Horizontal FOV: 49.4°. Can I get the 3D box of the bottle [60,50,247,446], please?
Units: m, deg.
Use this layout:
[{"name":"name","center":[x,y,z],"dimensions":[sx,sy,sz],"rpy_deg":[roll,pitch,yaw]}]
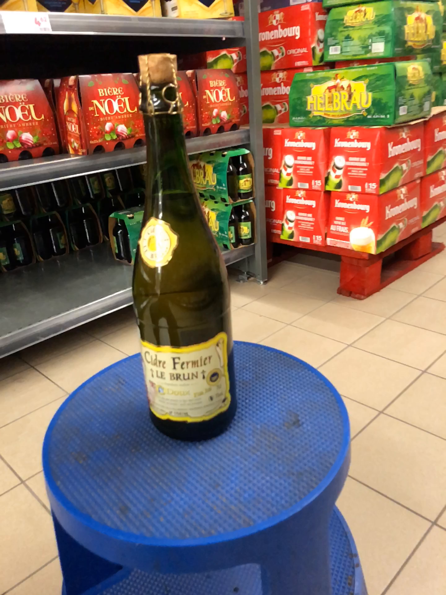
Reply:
[{"name":"bottle","center":[-0.041,-0.031,0.401],"dimensions":[0.090,0.299,0.091],"rpy_deg":[-4,23,2]}]
